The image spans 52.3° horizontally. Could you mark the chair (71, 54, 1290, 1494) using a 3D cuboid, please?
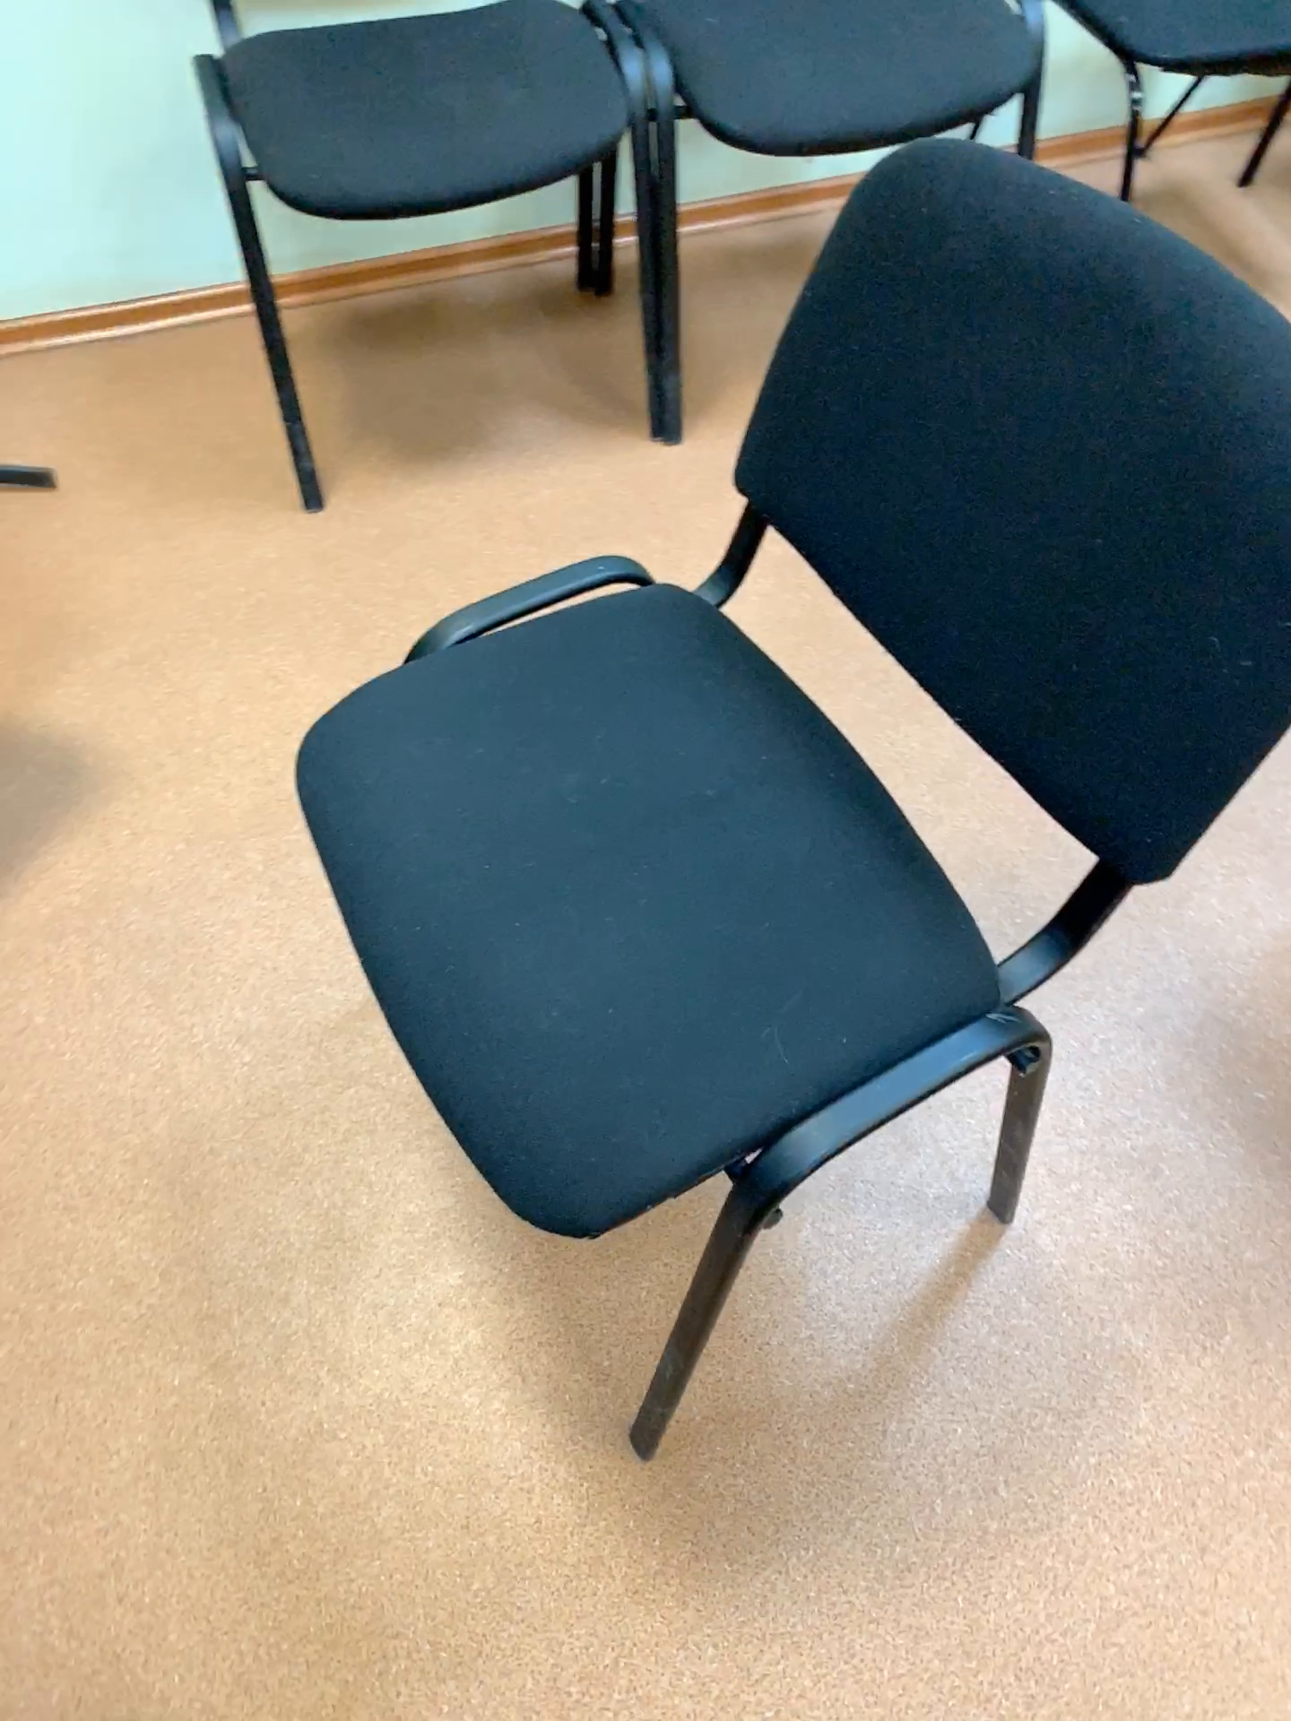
[{"bbox_3d":[0.069,-0.016,1.013,0.591,0.785,0.576,-25,58,-16],"label":"chair"}]
